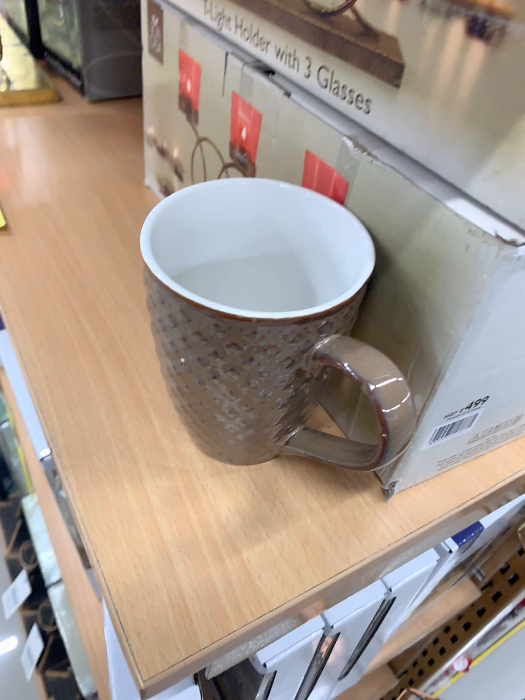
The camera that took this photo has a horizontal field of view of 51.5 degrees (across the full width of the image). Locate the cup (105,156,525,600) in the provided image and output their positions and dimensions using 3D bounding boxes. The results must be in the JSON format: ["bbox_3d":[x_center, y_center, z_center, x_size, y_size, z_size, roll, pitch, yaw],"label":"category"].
[{"bbox_3d":[0.008,0.000,0.216,0.090,0.090,0.130,-20,51,-29],"label":"cup"}]
